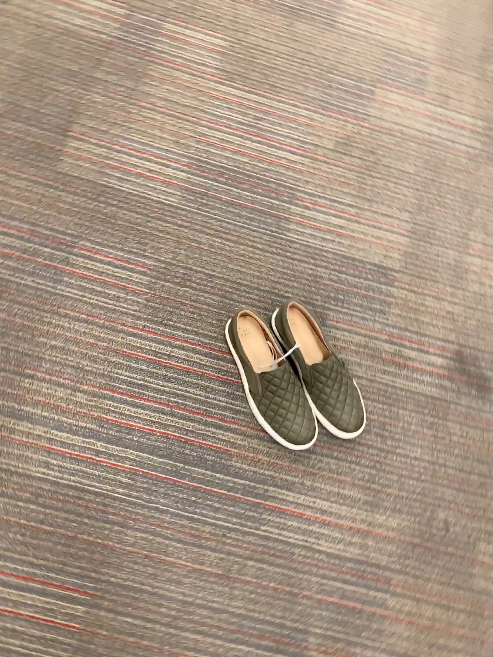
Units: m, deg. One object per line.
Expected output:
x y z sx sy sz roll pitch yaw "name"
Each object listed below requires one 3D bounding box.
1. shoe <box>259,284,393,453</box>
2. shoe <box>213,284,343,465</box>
0.141 0.078 0.956 0.100 0.110 0.290 -24 78 -14 "shoe"
0.047 0.086 0.913 0.100 0.130 0.290 -22 77 -14 "shoe"
